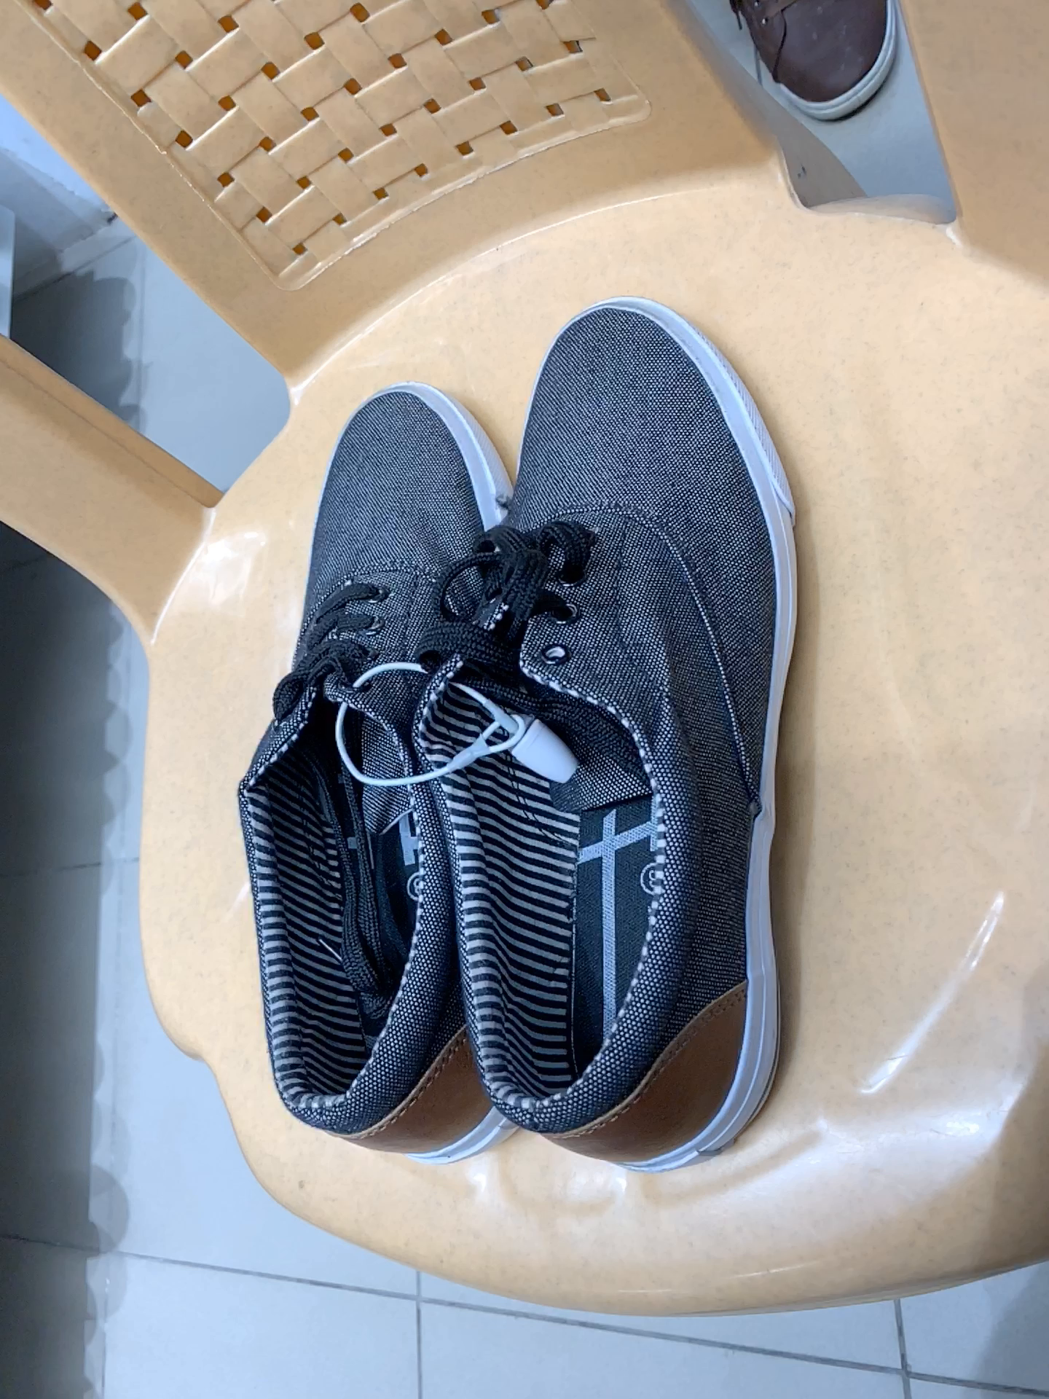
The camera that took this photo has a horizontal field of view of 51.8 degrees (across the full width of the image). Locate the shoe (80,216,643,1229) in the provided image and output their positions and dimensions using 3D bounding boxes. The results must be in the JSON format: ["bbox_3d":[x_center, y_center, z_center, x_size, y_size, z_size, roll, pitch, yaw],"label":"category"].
[{"bbox_3d":[-0.055,0.009,0.338,0.100,0.110,0.260,-19,71,29],"label":"shoe"}]

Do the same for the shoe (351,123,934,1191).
[{"bbox_3d":[0.032,-0.006,0.333,0.110,0.110,0.270,-14,73,30],"label":"shoe"}]
